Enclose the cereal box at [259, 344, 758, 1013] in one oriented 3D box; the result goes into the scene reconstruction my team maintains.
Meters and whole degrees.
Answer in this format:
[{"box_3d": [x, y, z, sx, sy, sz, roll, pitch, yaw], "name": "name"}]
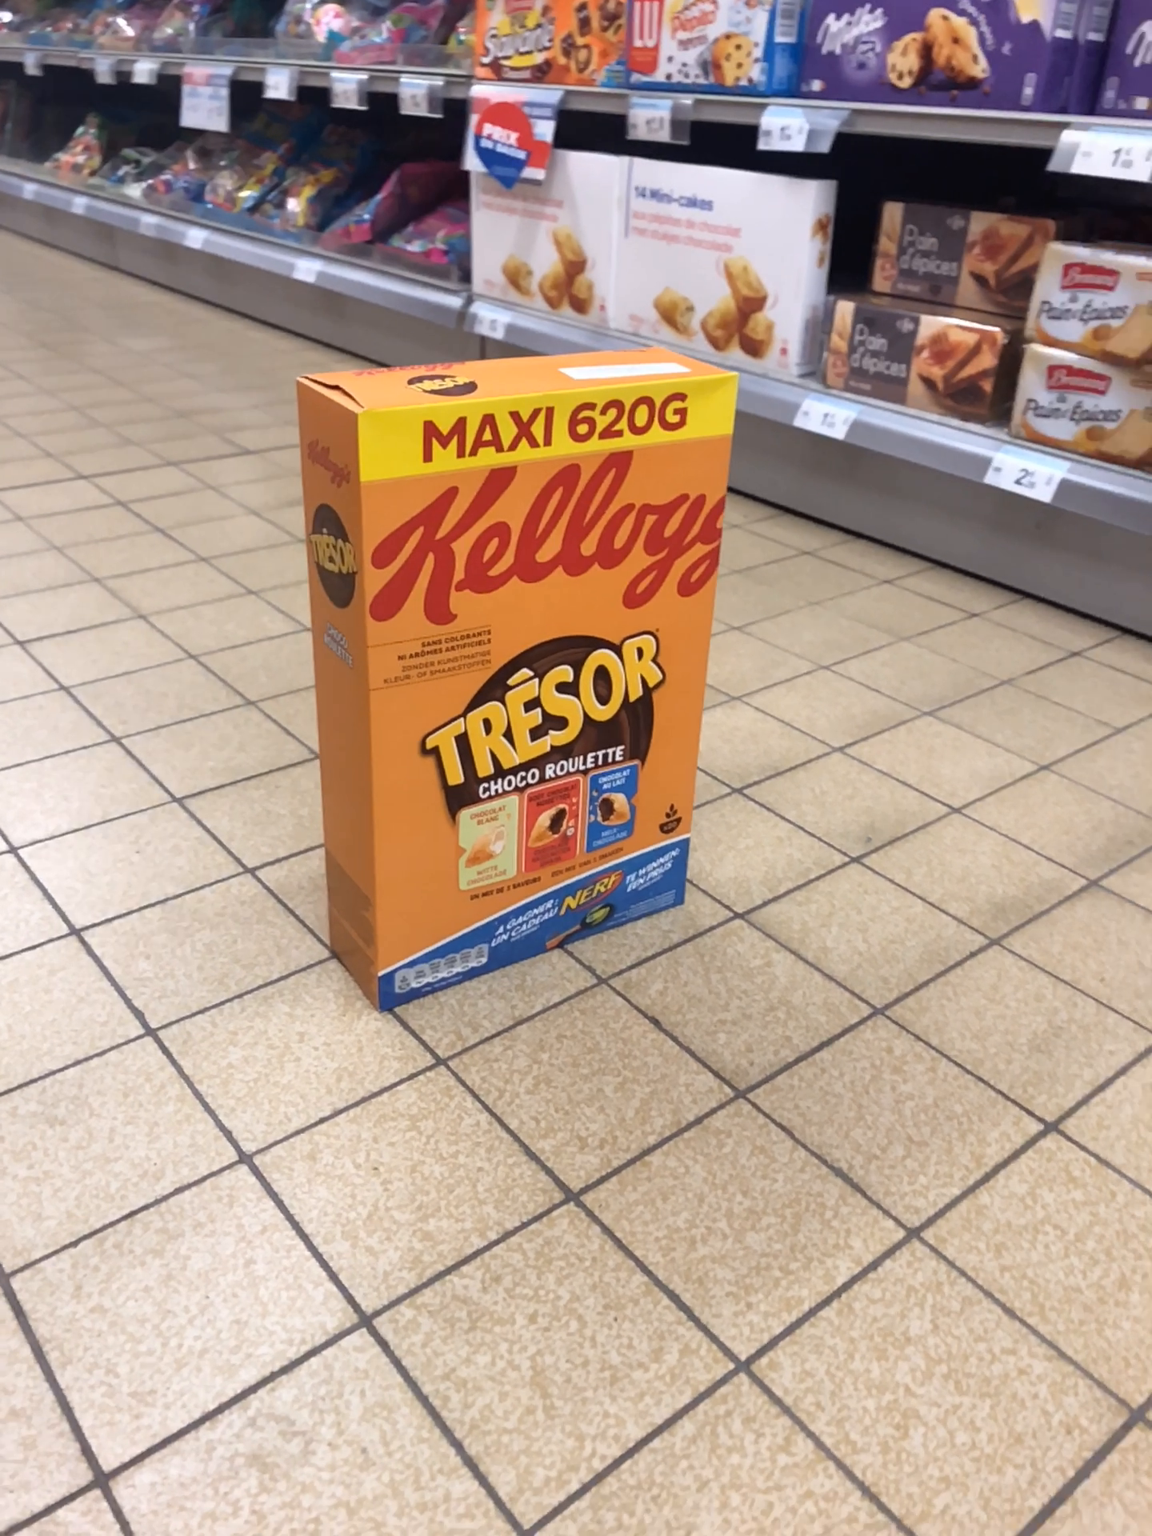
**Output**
[{"box_3d": [-0.031, -0.046, 0.621, 0.211, 0.288, 0.070, -14, 32, -29], "name": "cereal box"}]
